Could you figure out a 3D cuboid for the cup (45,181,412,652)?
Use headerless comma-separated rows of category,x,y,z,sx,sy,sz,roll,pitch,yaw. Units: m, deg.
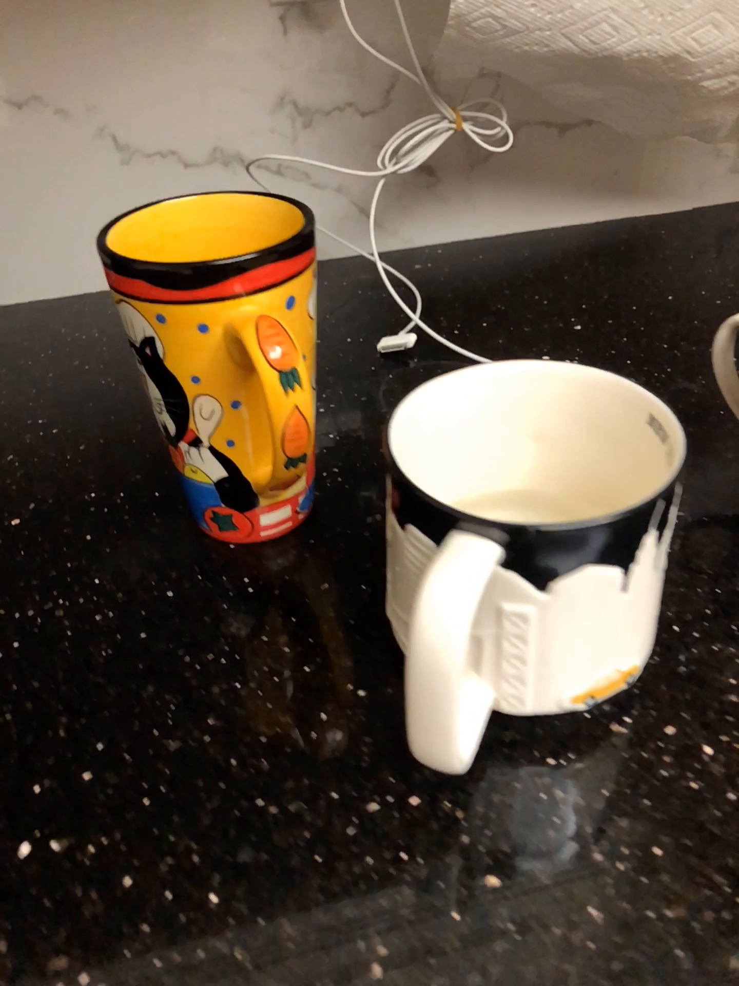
cup,-0.058,-0.040,0.364,0.090,0.149,0.131,-25,41,-27

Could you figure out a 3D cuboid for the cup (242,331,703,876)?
cup,0.046,0.028,0.309,0.100,0.109,0.151,18,41,27

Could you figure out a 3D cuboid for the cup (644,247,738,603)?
cup,0.203,-0.036,0.377,0.100,0.109,0.090,-30,44,-32
